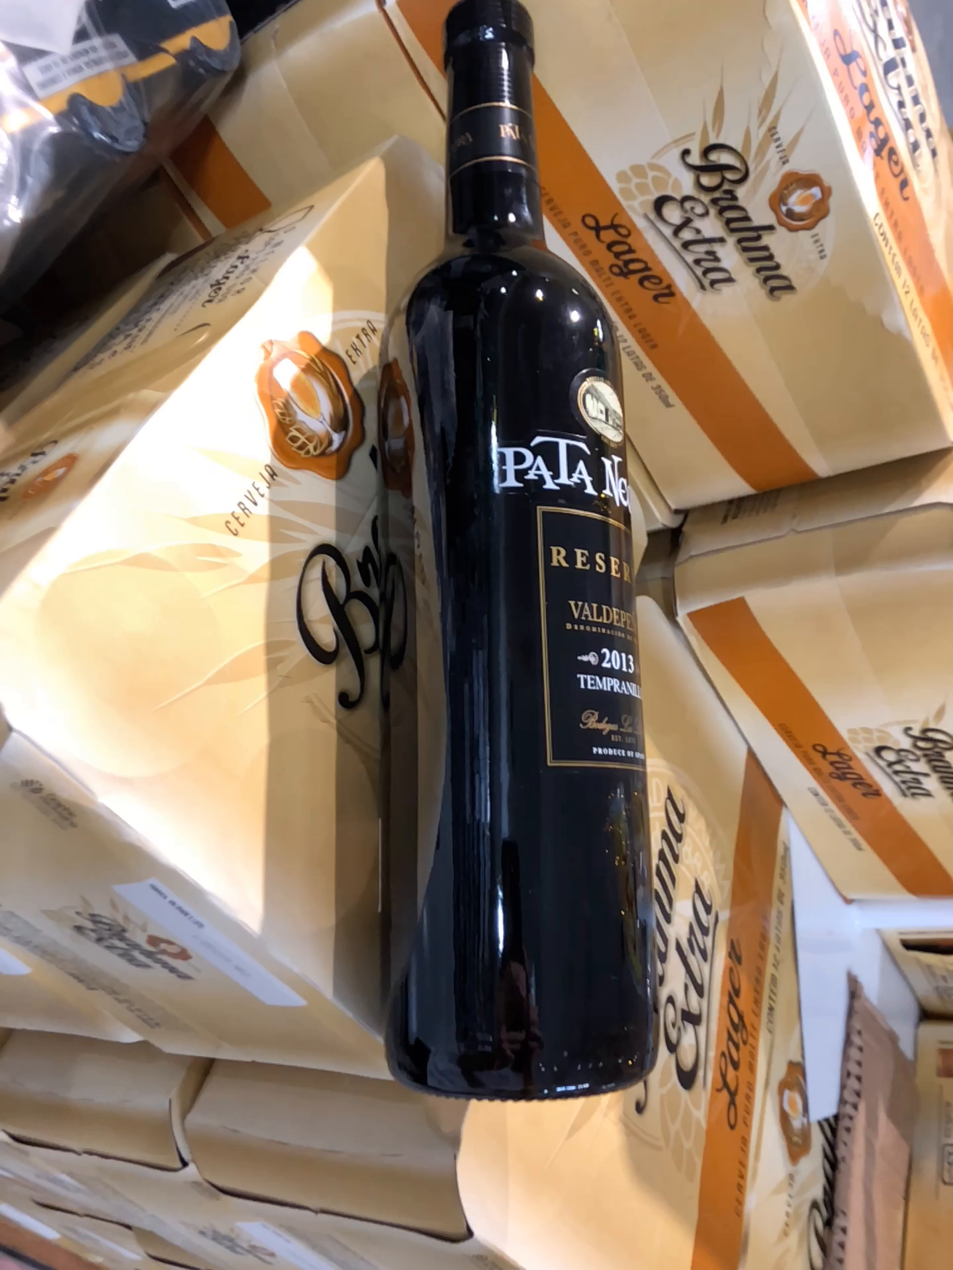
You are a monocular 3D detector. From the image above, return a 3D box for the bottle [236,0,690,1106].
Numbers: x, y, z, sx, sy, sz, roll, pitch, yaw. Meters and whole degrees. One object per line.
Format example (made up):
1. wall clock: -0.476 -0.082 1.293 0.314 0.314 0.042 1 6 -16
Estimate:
1. bottle: -0.004 -0.081 0.303 0.080 0.079 0.380 15 70 -51
